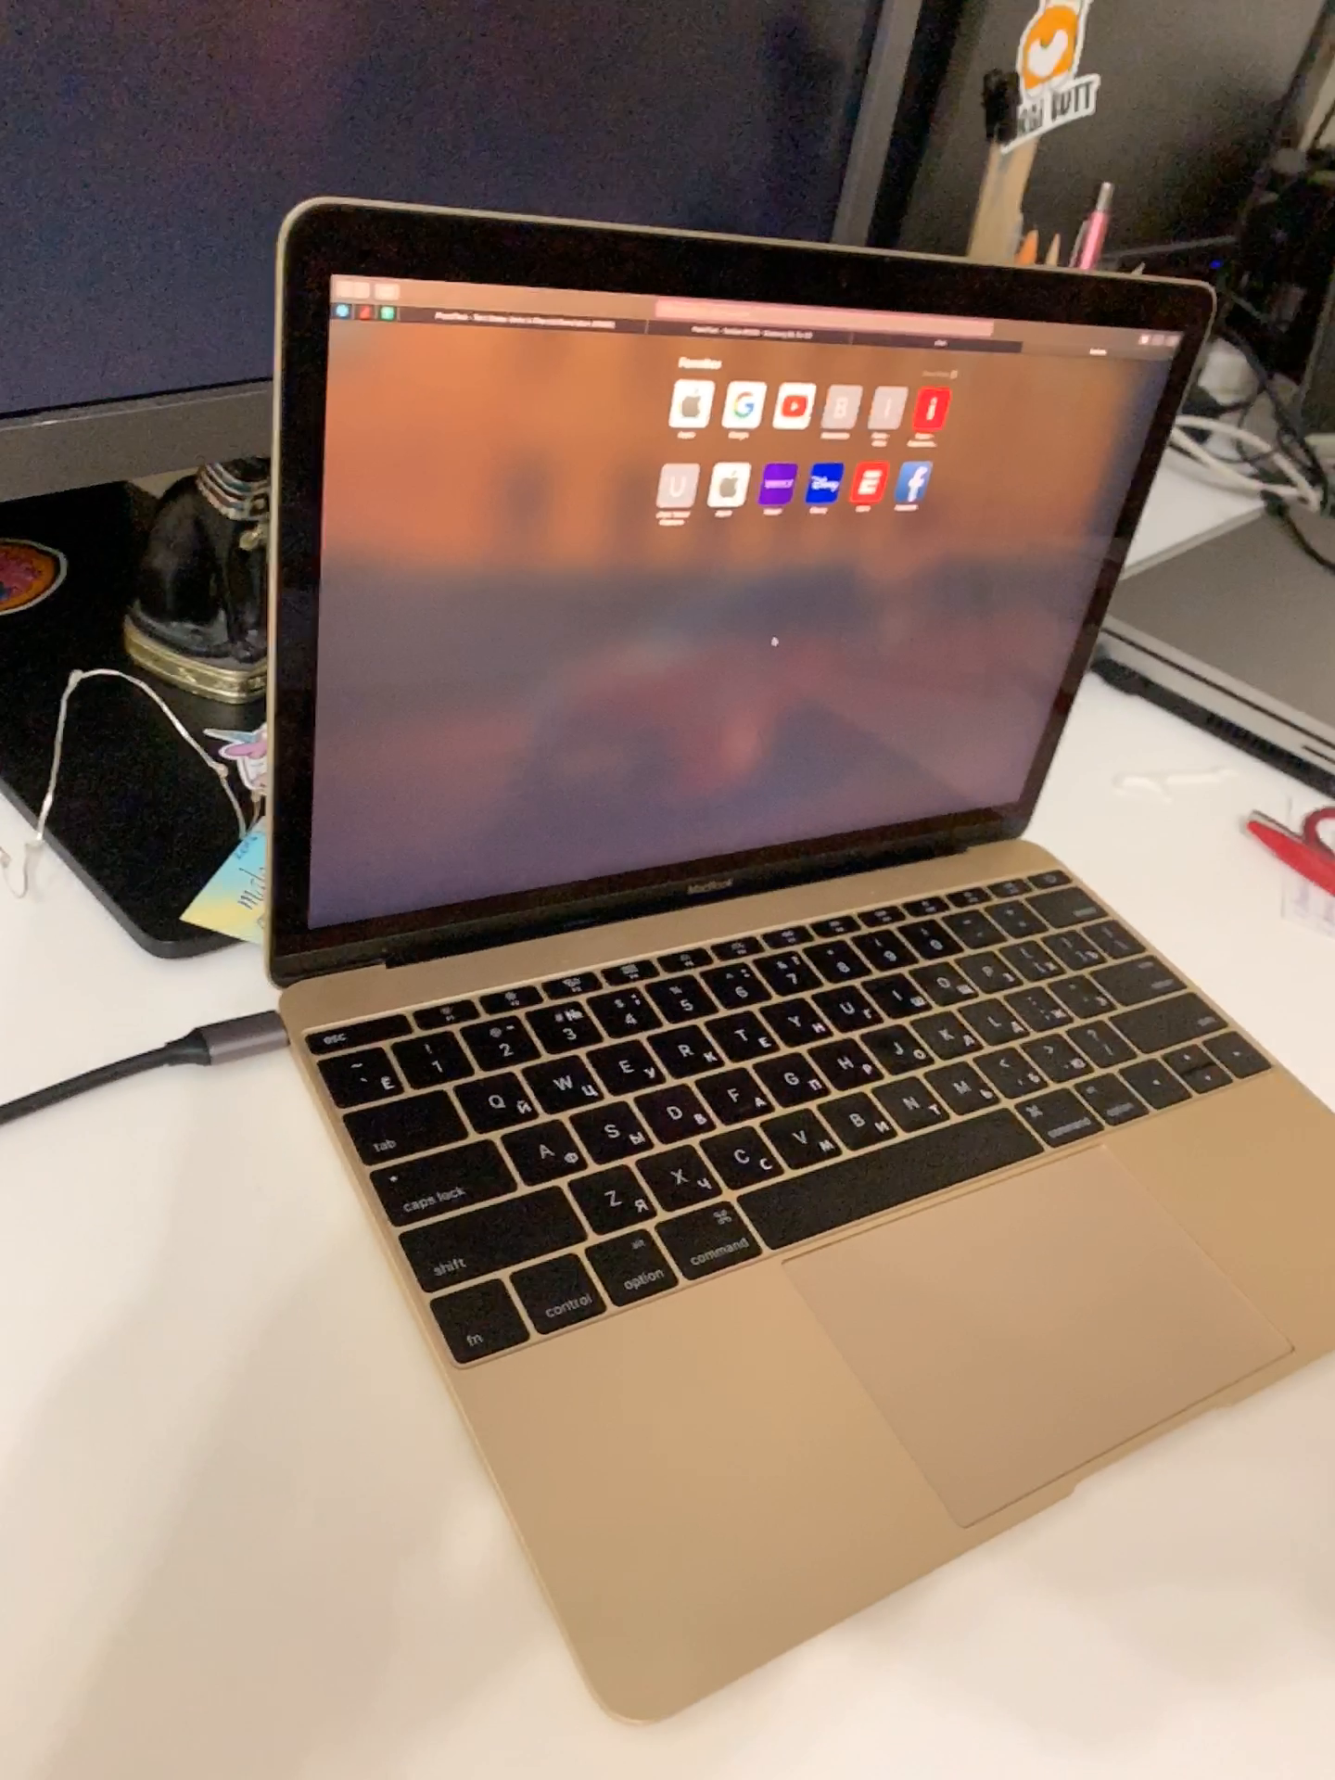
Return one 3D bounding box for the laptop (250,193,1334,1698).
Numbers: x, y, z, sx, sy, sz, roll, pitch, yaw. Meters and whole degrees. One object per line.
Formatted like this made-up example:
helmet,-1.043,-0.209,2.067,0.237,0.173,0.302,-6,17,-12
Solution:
laptop,0.068,-0.017,0.295,0.248,0.168,0.198,-11,43,-31
